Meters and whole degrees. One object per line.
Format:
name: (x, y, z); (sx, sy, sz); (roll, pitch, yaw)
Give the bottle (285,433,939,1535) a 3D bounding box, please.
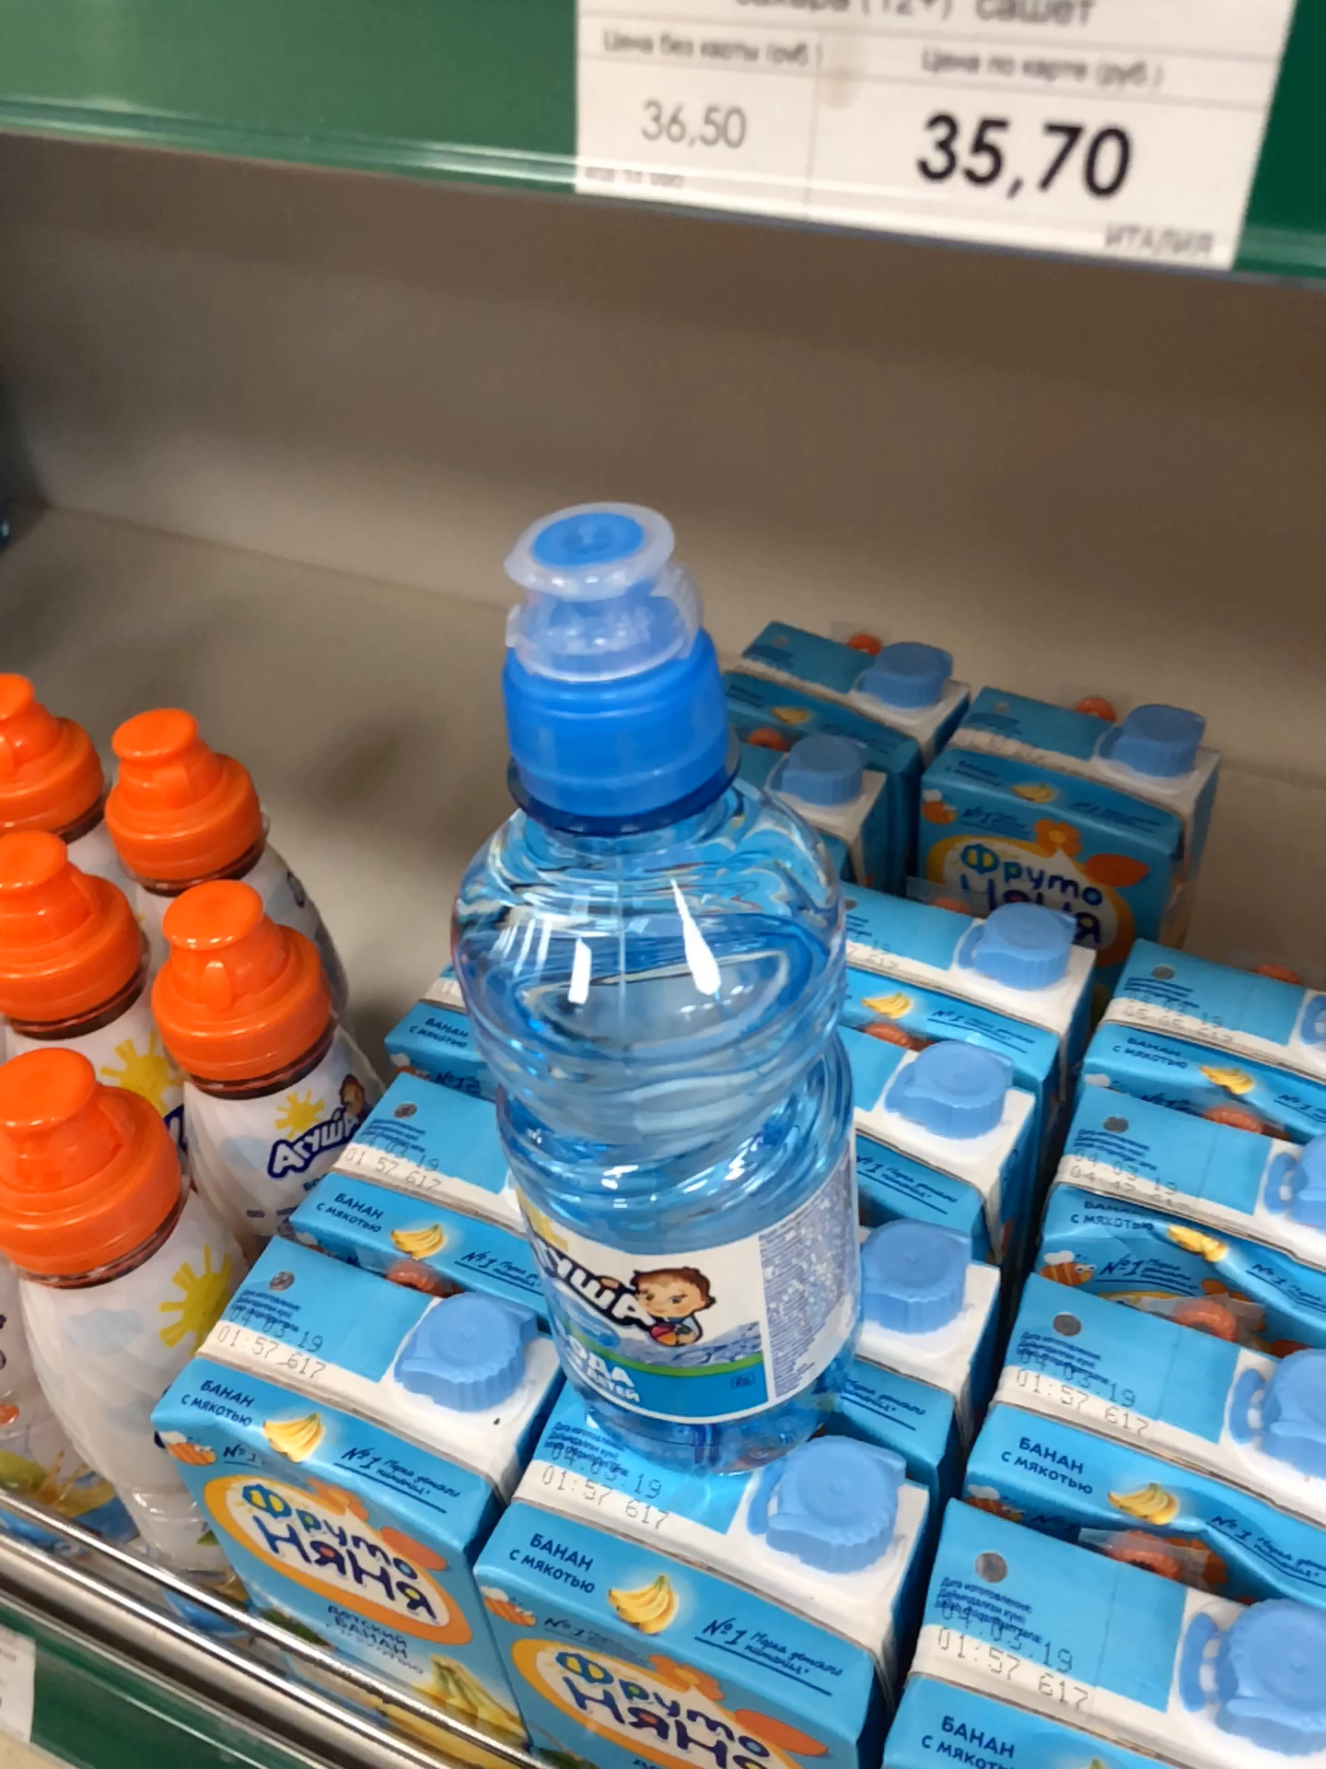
bottle: (0.001, 0.026, 0.238); (0.060, 0.174, 0.056); (-4, 41, 3)
